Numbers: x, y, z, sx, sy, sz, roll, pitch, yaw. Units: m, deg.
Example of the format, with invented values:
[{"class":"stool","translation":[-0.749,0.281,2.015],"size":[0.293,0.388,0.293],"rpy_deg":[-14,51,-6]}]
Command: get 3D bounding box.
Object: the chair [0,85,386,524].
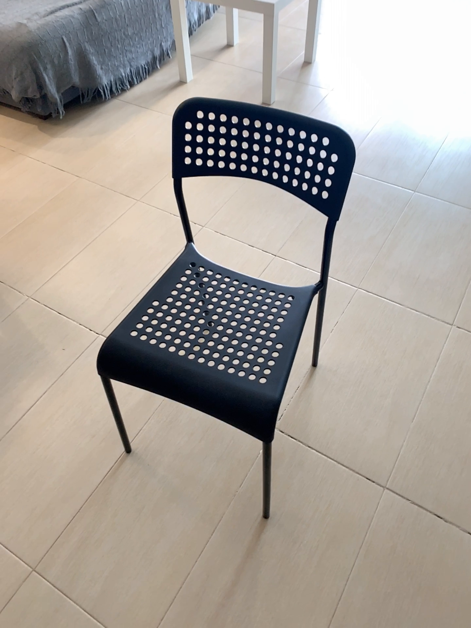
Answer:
[{"class":"chair","translation":[-0.030,0.014,1.001],"size":[0.420,0.687,0.492],"rpy_deg":[19,54,16]}]
